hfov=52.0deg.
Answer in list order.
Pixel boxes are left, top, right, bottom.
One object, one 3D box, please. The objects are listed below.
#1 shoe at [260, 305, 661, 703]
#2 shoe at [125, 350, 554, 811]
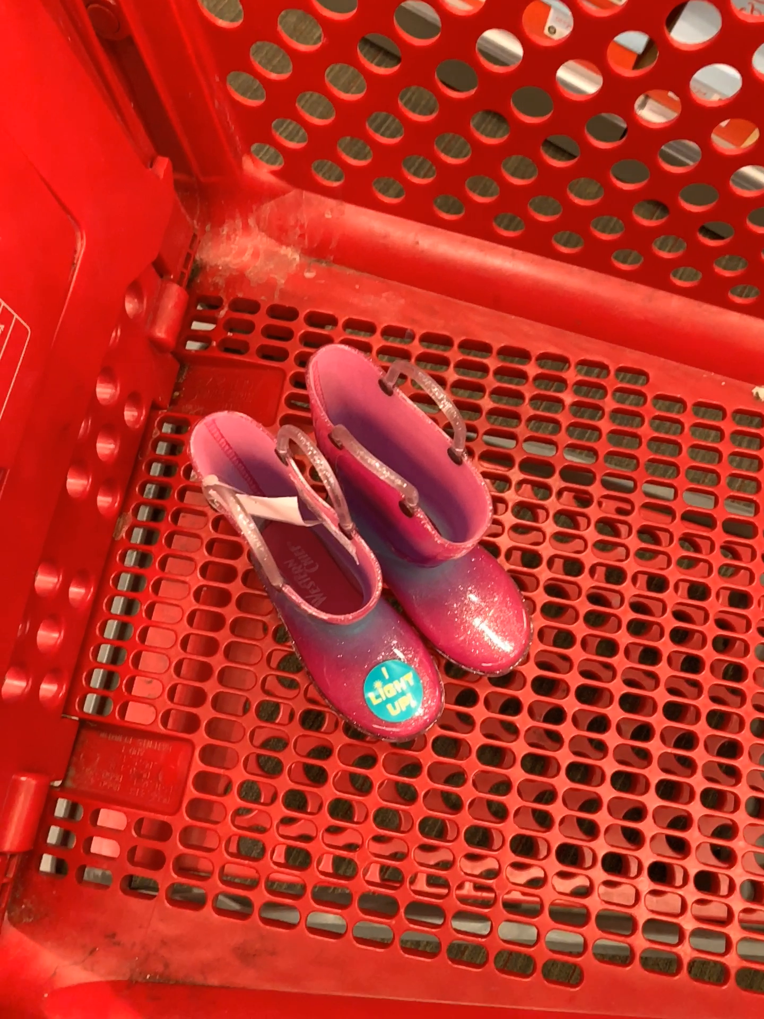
[{"bbox_3d":[0.029,0.009,0.425,0.070,0.140,0.190,-43,83,-14],"label":"shoe"},{"bbox_3d":[-0.026,0.041,0.401,0.070,0.140,0.200,-39,82,-13],"label":"shoe"}]
